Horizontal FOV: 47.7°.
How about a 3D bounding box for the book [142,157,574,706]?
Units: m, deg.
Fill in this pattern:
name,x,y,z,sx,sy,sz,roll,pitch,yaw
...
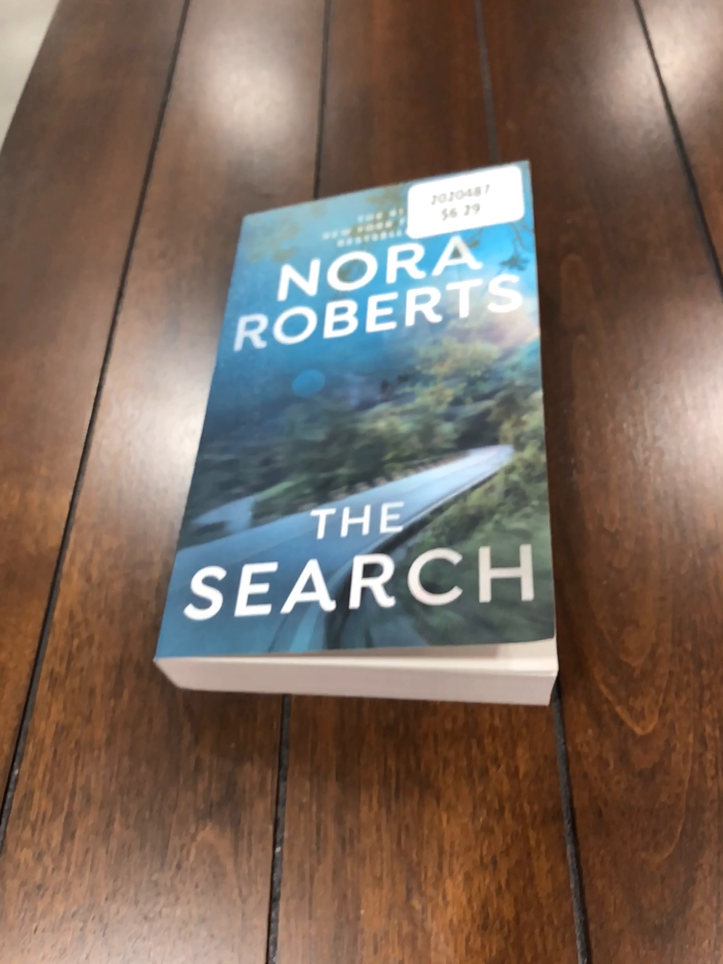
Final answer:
name,x,y,z,sx,sy,sz,roll,pitch,yaw
book,0.007,-0.019,0.265,0.108,0.050,0.170,-4,58,16
